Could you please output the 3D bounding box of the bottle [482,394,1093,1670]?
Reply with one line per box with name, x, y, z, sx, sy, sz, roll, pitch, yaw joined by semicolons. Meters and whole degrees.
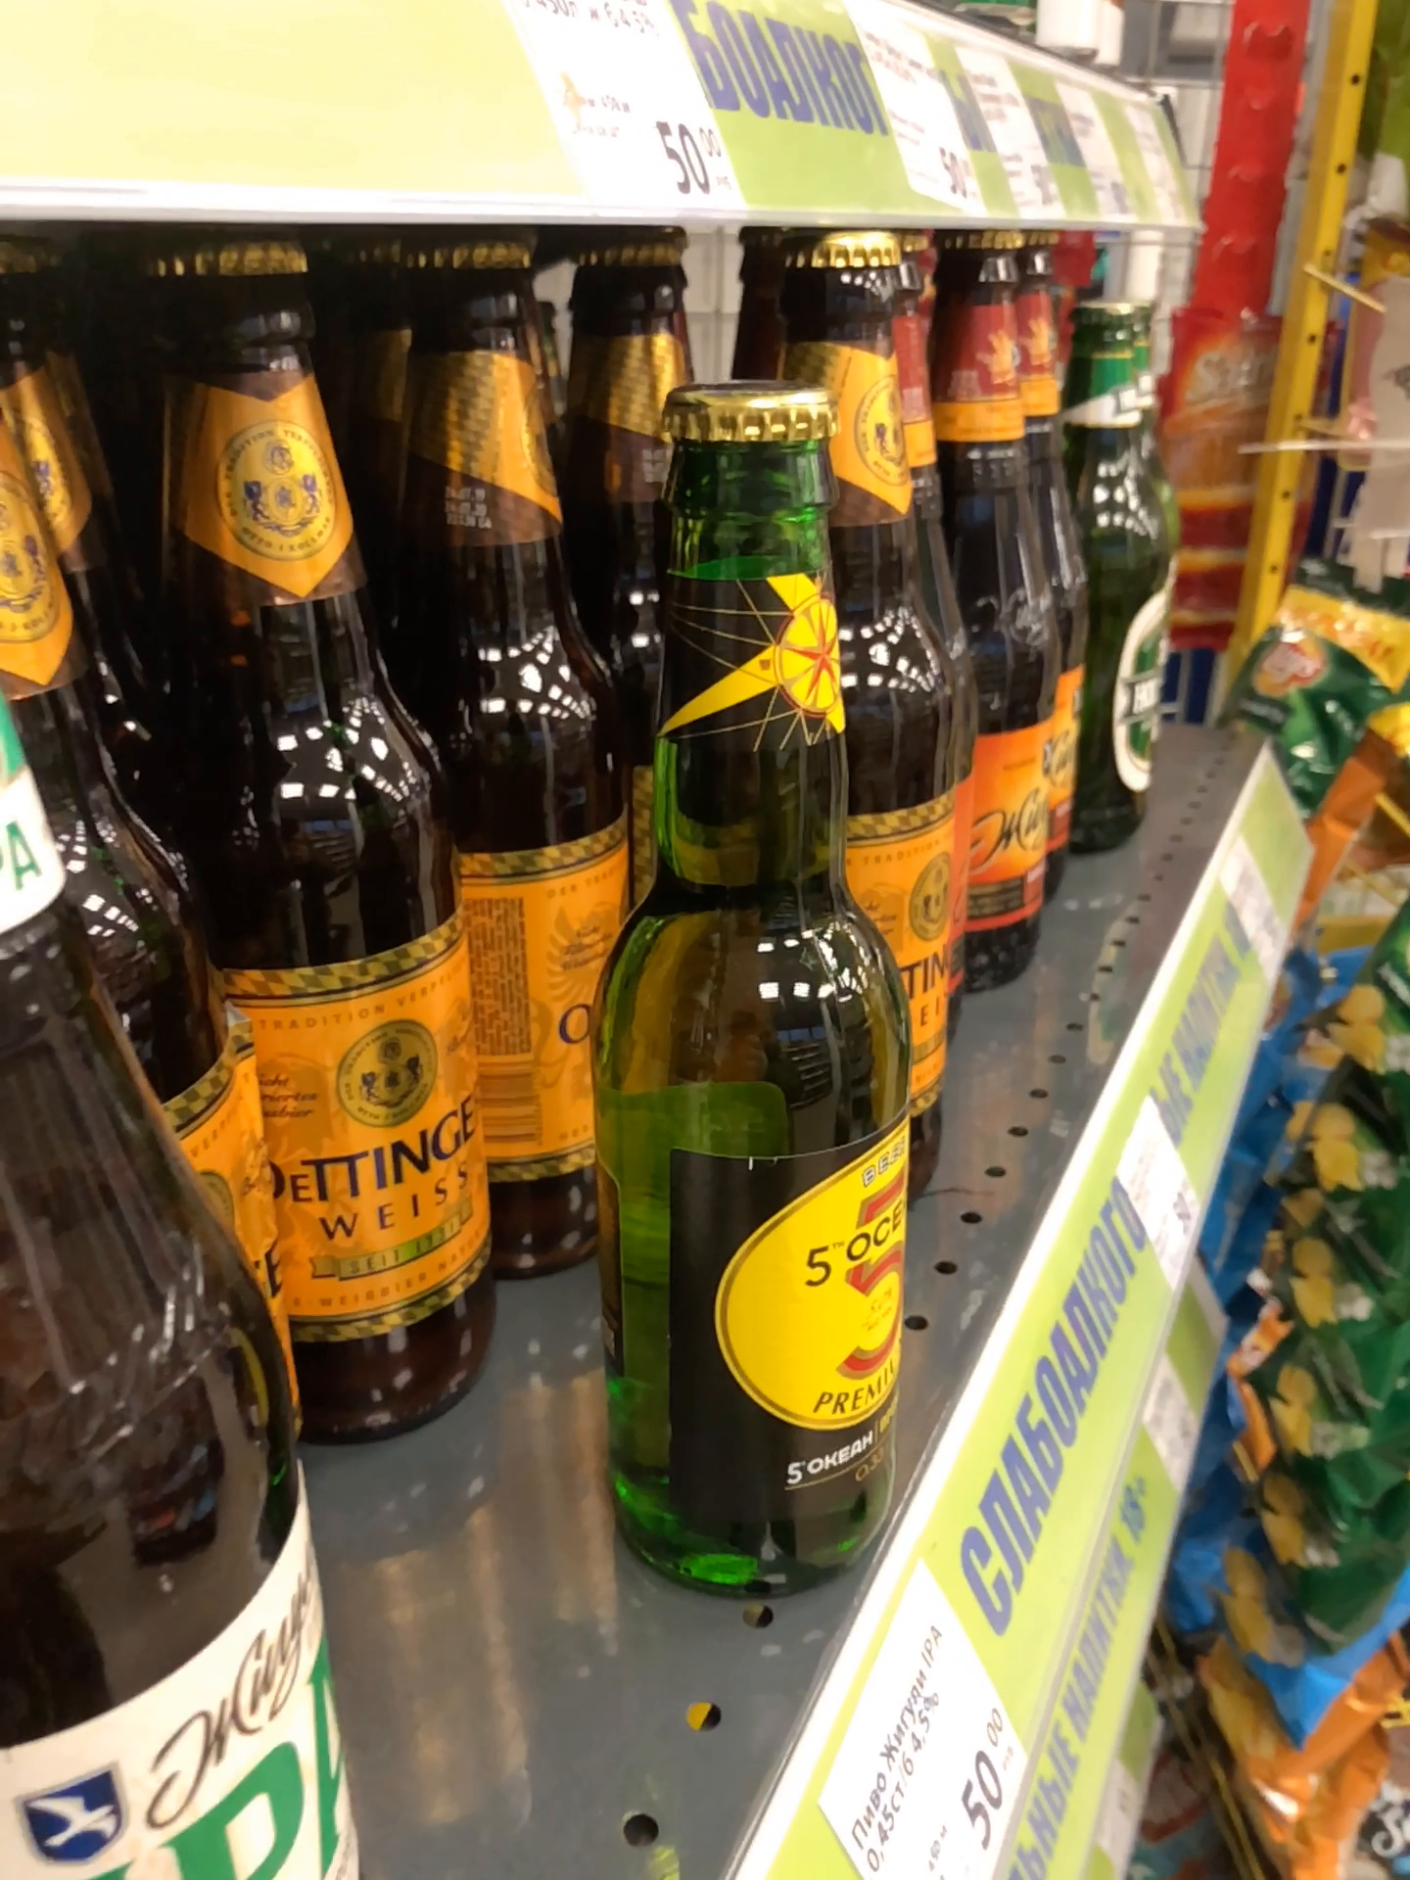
bottle;0.014;0.016;0.285;0.070;0.210;0.070;1;24;0
